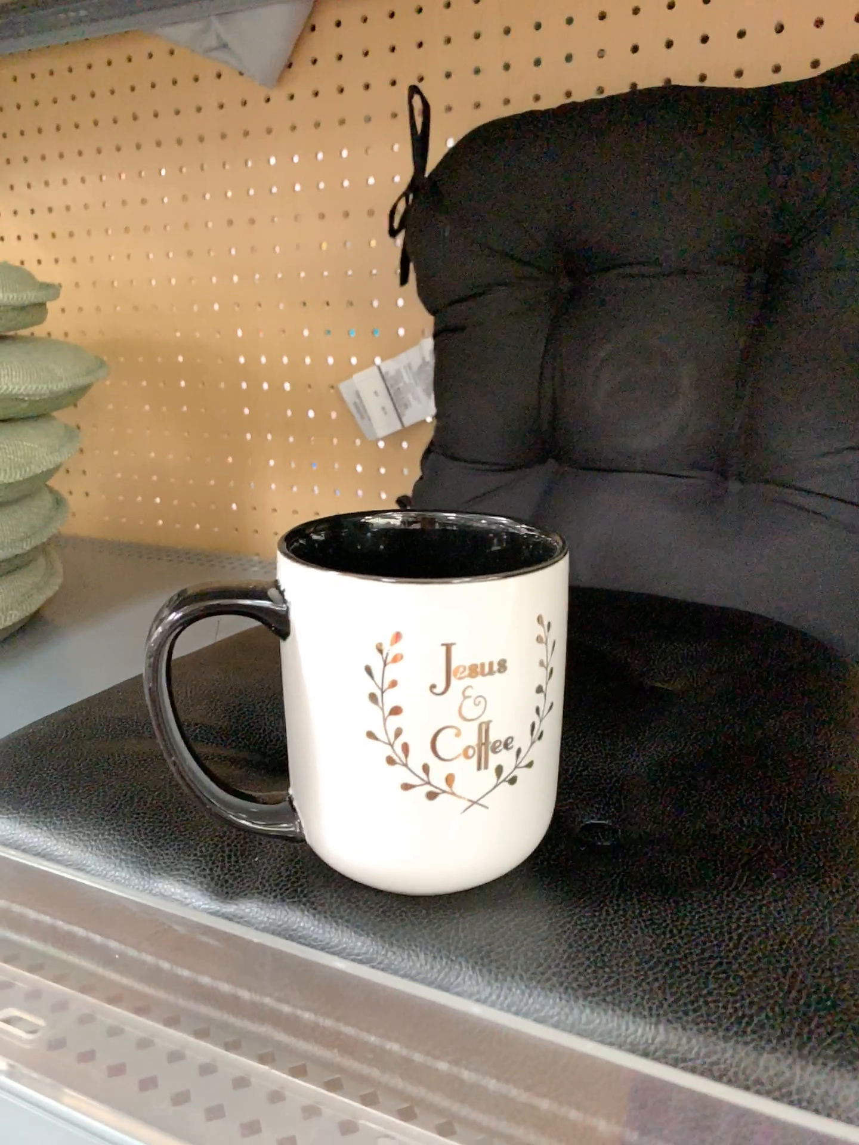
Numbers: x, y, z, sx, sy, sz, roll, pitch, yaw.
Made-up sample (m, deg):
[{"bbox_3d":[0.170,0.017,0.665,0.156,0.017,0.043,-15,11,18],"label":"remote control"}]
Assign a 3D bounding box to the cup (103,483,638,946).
[{"bbox_3d":[-0.020,0.034,0.293,0.142,0.104,0.102,-5,15,-12],"label":"cup"}]
